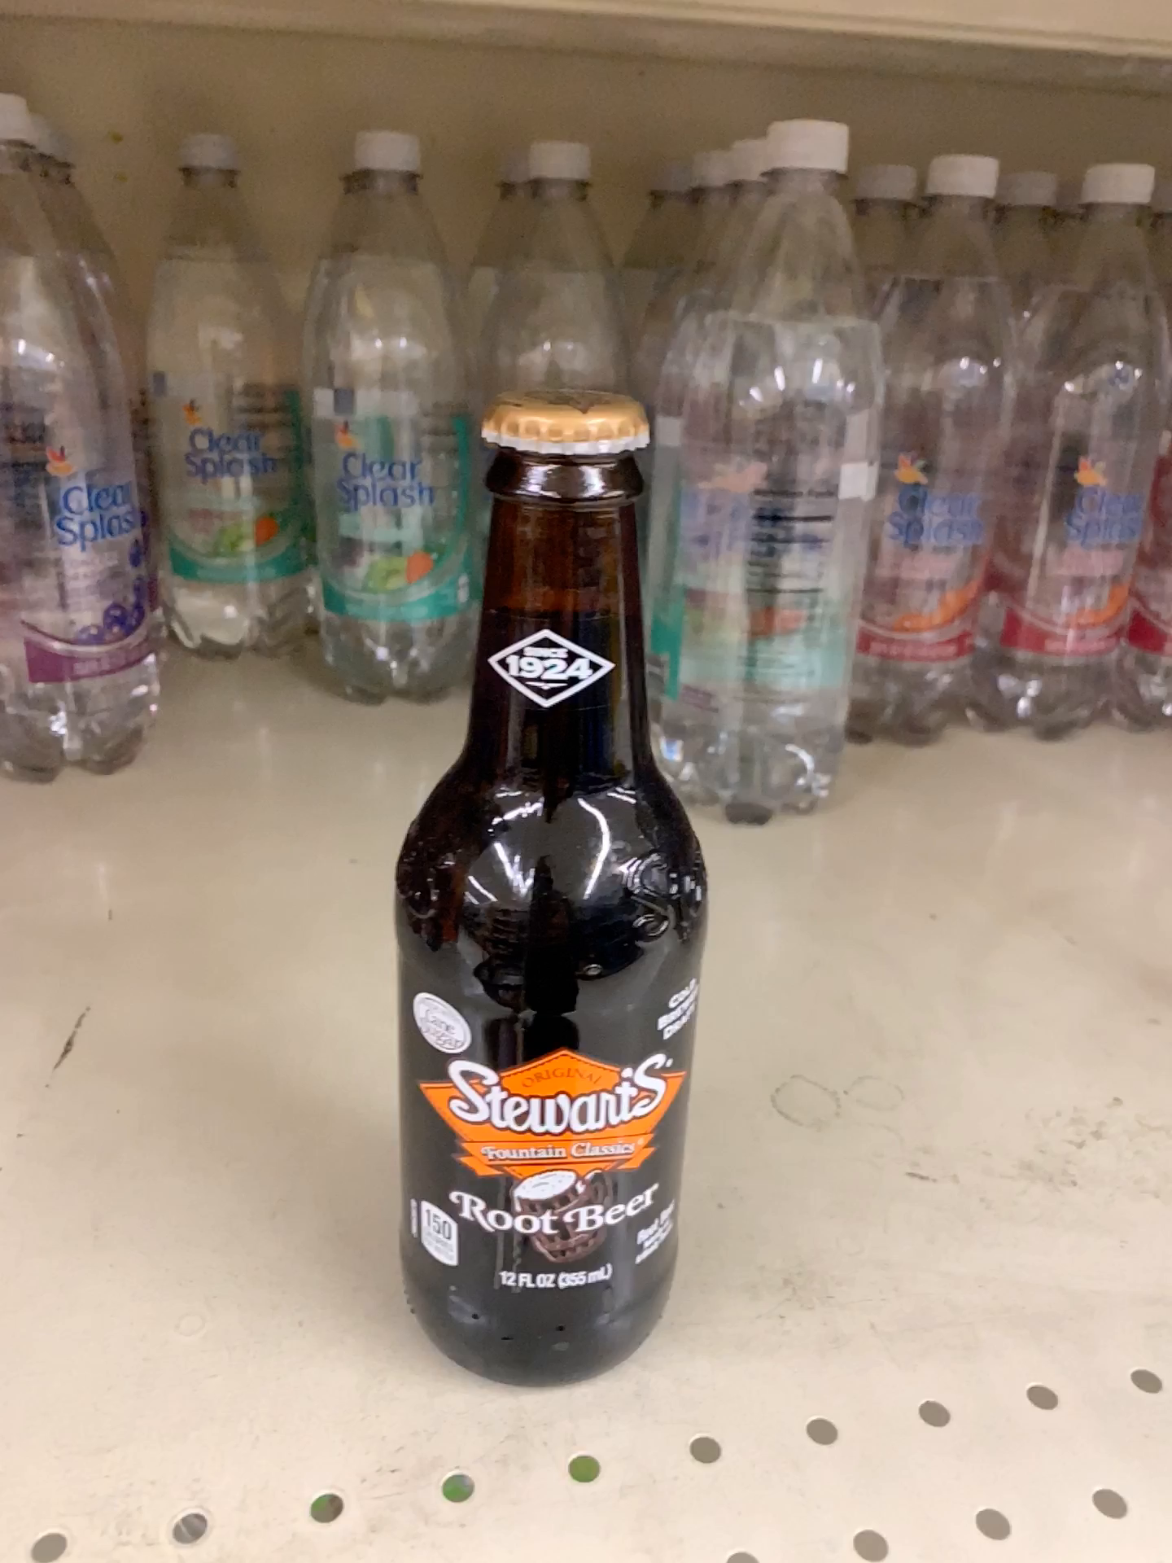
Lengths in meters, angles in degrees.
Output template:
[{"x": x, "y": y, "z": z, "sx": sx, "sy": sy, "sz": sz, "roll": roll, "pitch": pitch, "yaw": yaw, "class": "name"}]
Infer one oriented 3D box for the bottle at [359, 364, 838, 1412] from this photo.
[{"x": -0.003, "y": 0.029, "z": 0.247, "sx": 0.070, "sy": 0.207, "sz": 0.060, "roll": 1, "pitch": 24, "yaw": -3, "class": "bottle"}]
